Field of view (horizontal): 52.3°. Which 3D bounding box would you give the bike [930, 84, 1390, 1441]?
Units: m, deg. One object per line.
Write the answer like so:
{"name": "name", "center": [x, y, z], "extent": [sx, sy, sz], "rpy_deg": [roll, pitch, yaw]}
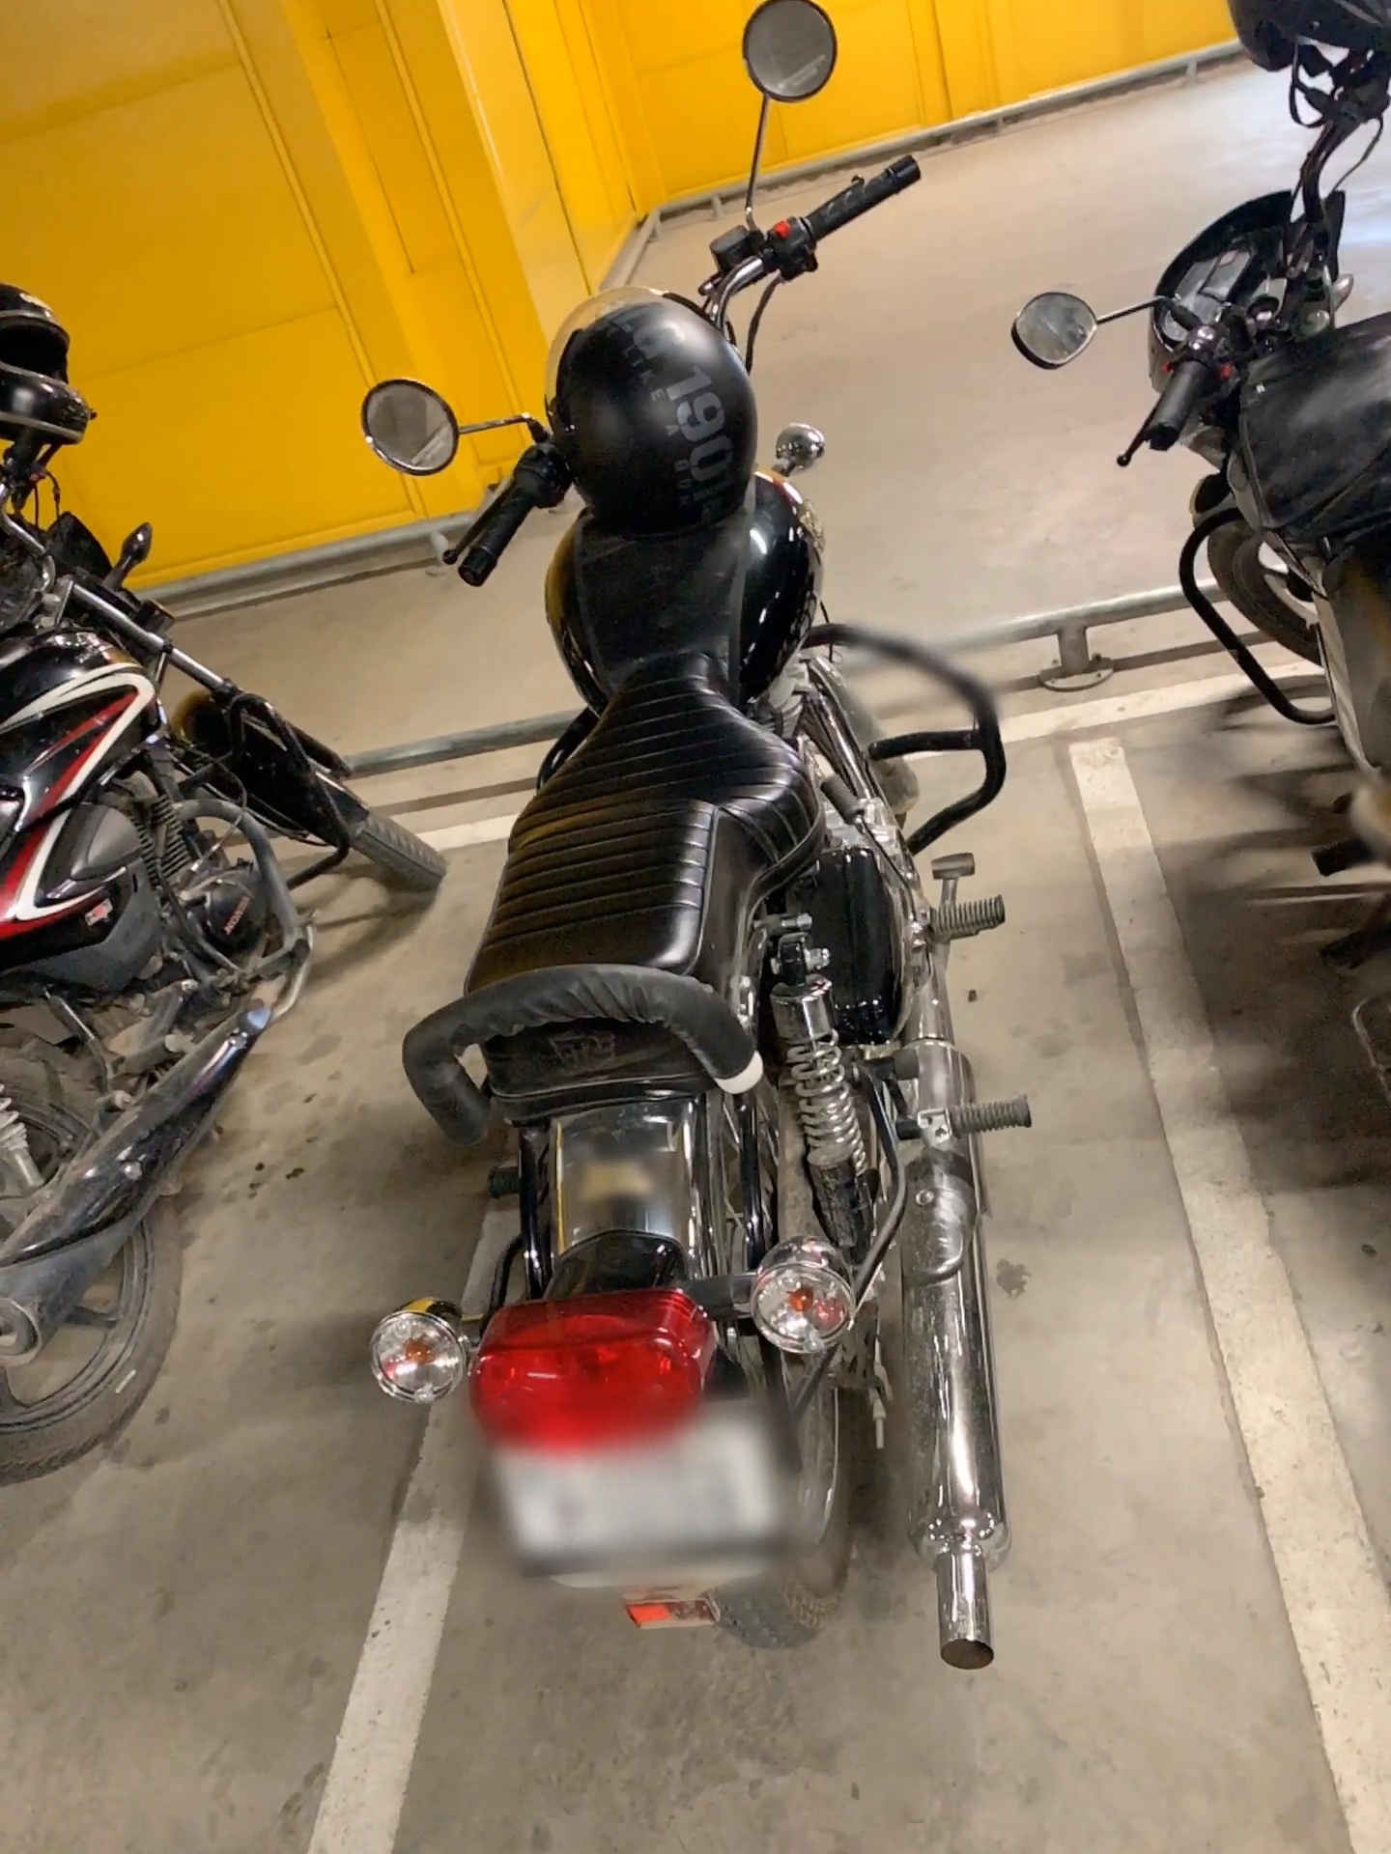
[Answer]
{"name": "bike", "center": [0.754, -0.405, 1.771], "extent": [0.598, 0.924, 1.727], "rpy_deg": [-11, 32, 10]}

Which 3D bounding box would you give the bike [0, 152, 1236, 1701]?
{"name": "bike", "center": [-0.097, -0.210, 1.808], "extent": [0.763, 1.050, 1.834], "rpy_deg": [-14, 34, 6]}
